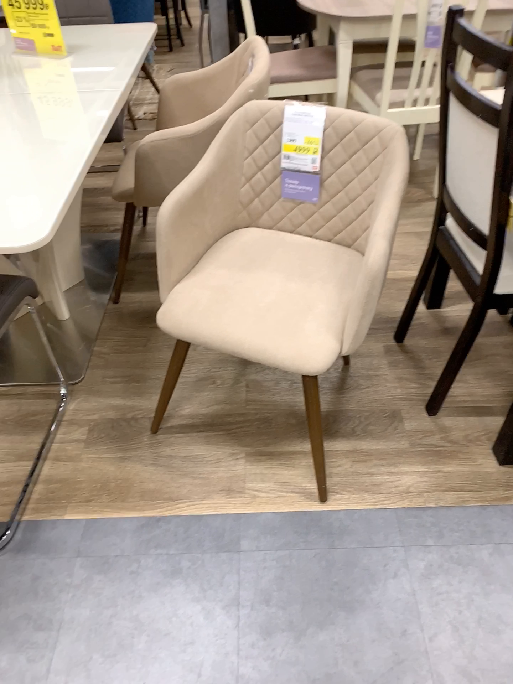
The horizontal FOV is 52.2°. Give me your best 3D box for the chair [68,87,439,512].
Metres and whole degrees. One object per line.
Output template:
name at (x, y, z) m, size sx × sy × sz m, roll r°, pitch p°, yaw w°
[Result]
chair at (0.039, -0.114, 1.396) m, size 0.600 × 0.835 × 0.573 m, roll 17°, pitch 46°, yaw 20°
